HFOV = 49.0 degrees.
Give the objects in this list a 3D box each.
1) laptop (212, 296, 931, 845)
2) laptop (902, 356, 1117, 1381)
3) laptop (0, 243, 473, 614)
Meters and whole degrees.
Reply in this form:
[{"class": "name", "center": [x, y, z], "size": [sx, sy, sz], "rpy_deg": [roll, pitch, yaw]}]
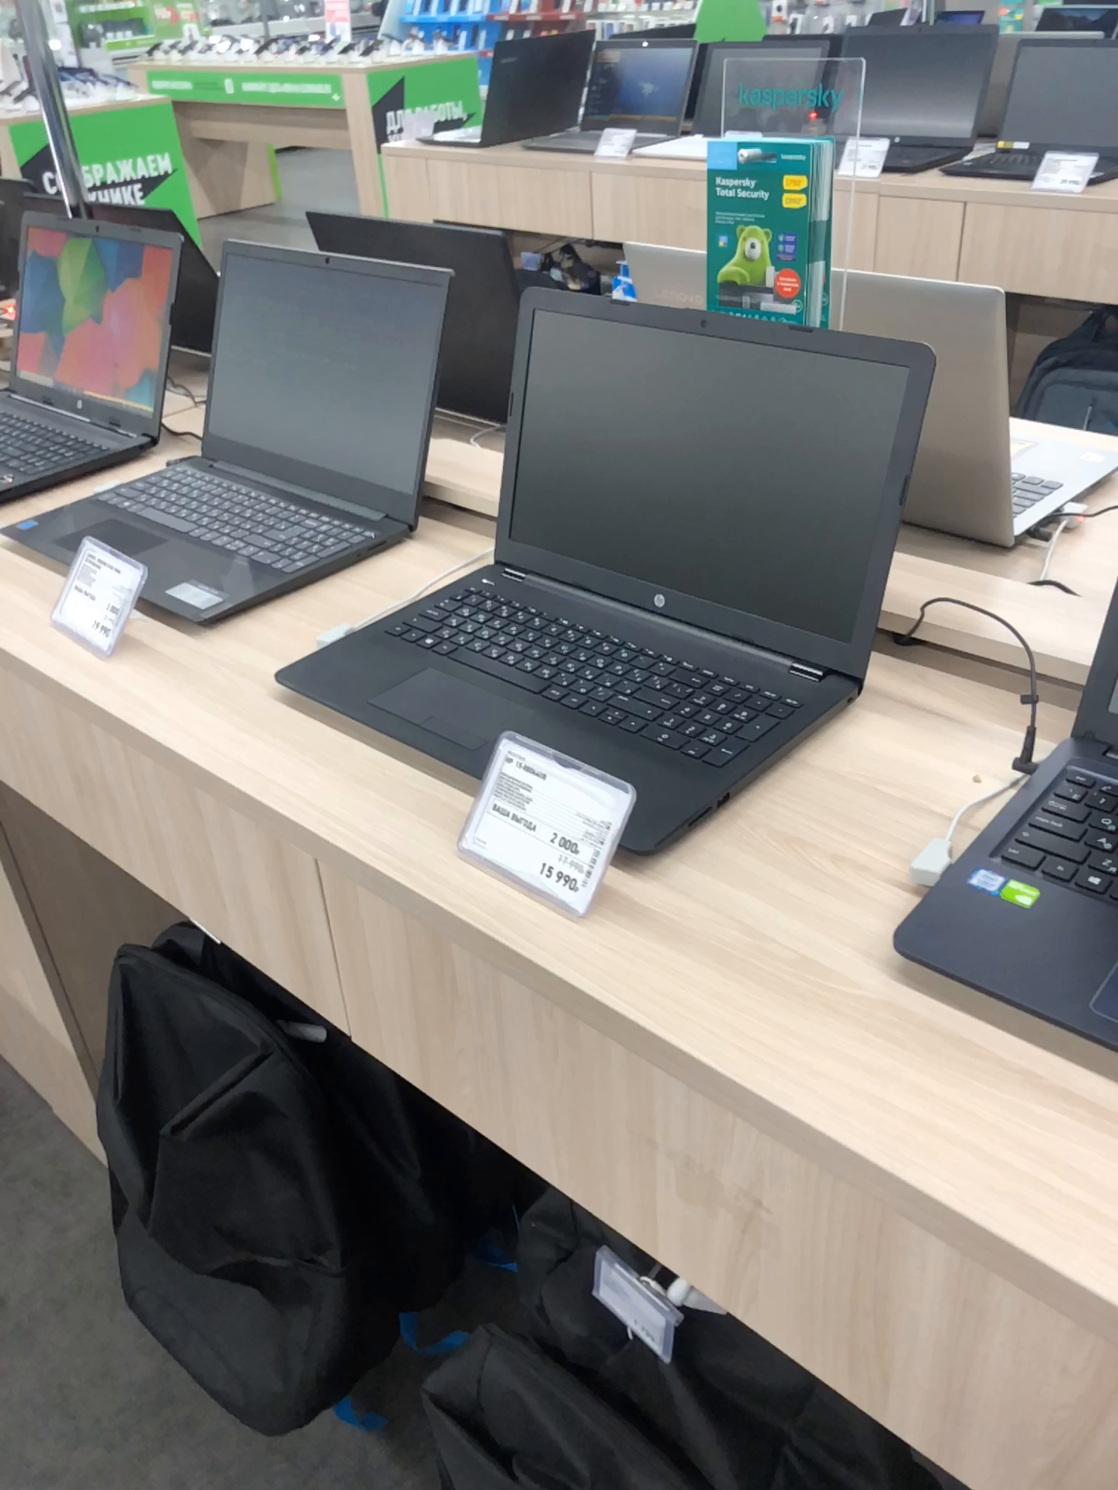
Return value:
[{"class": "laptop", "center": [0.011, -0.157, 0.877], "size": [0.367, 0.216, 0.312], "rpy_deg": [22, 41, 36]}, {"class": "laptop", "center": [0.414, -0.007, 0.582], "size": [0.370, 0.209, 0.334], "rpy_deg": [22, 42, 34]}, {"class": "laptop", "center": [-0.332, -0.326, 1.186], "size": [0.332, 0.213, 0.328], "rpy_deg": [23, 42, 36]}]
